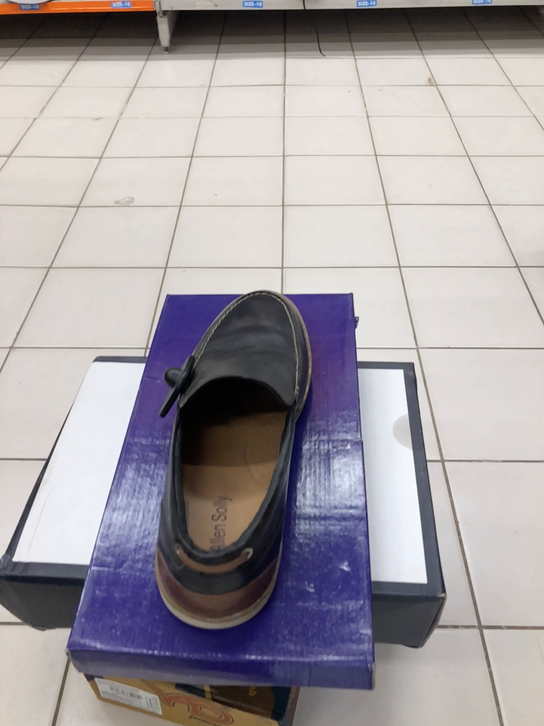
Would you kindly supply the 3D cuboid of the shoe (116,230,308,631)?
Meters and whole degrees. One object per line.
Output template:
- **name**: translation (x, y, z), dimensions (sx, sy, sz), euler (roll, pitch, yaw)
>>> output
- **shoe**: translation (-0.025, 0.029, 0.463), dimensions (0.100, 0.109, 0.302), euler (2, 45, 2)
